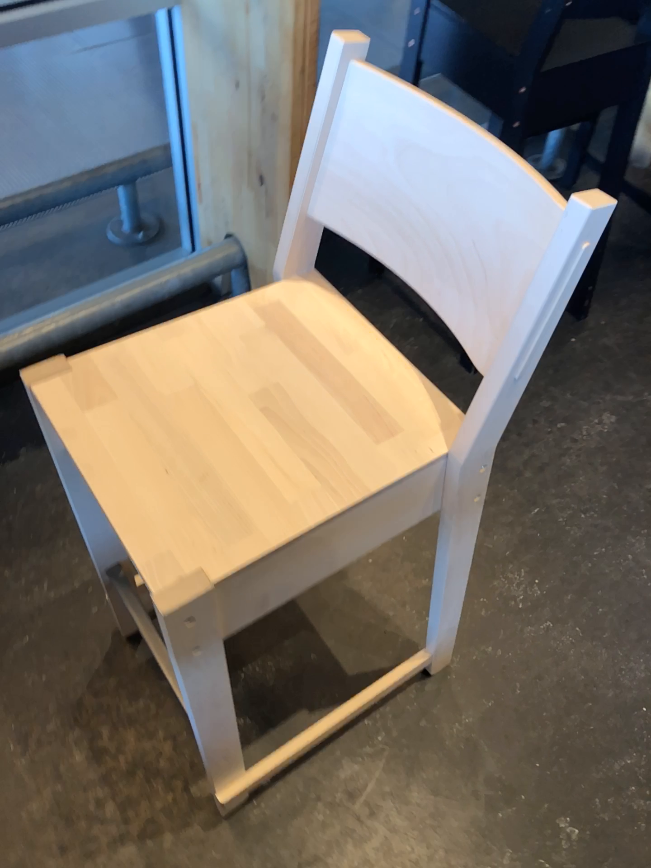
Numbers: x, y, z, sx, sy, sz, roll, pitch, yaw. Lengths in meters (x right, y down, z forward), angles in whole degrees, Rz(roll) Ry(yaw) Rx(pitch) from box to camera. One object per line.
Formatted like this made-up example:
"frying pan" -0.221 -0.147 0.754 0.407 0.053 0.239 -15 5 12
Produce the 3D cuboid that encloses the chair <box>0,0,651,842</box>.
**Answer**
"chair" -0.039 0.051 0.934 0.541 0.977 0.461 -27 58 -23
